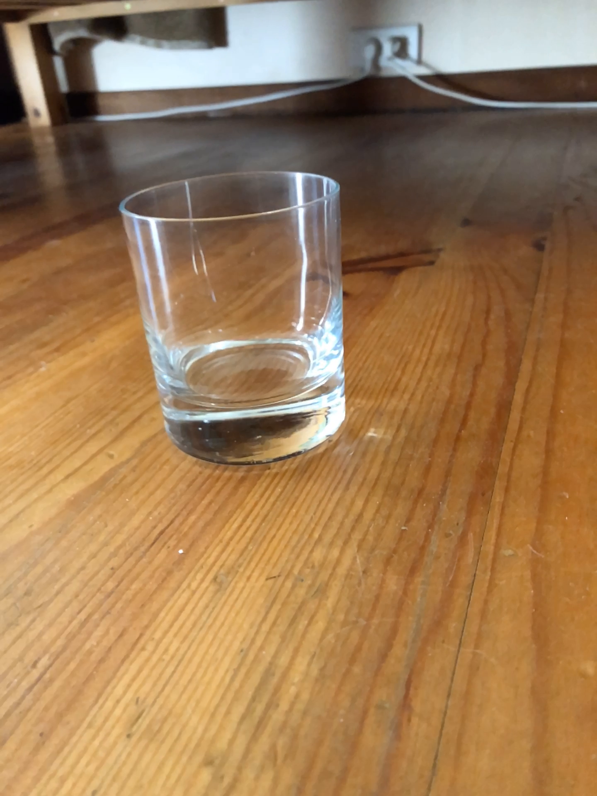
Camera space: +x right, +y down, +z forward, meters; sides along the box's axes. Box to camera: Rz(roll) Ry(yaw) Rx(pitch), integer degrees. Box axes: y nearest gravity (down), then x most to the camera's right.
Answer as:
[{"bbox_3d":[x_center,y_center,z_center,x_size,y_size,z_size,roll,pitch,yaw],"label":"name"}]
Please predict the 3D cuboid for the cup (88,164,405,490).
[{"bbox_3d":[-0.019,-0.036,0.264,0.087,0.090,0.083,-3,27,2],"label":"cup"}]
